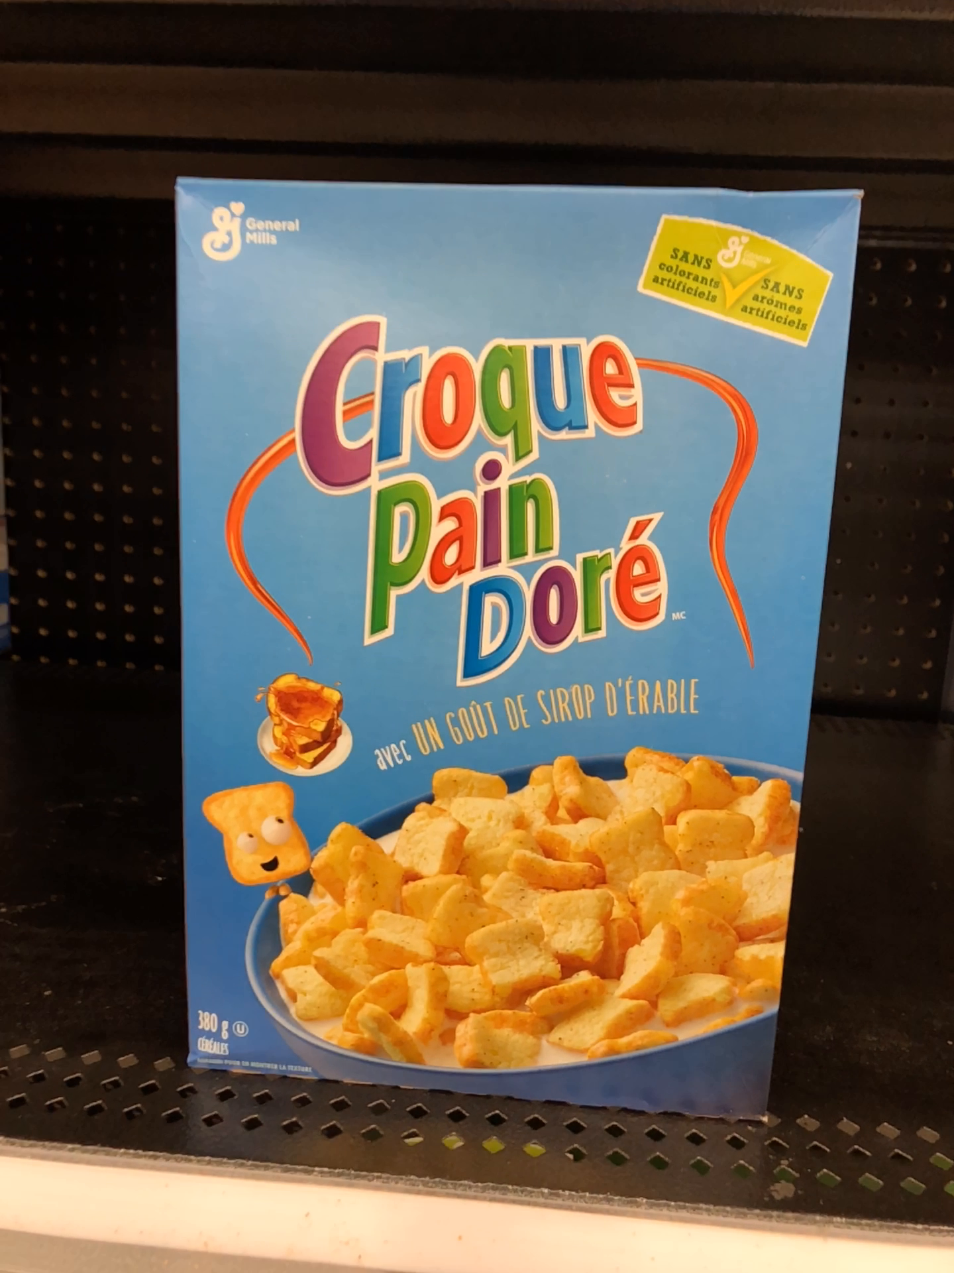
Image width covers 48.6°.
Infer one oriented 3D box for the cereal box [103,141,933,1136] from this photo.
[{"bbox_3d":[0.004,0.005,0.317,0.210,0.269,0.050,3,11,3],"label":"cereal box"}]
